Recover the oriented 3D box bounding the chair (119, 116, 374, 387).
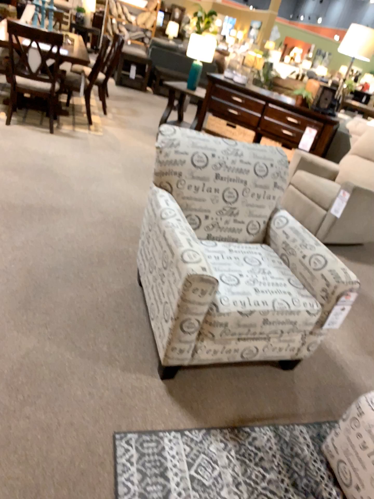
[{"bbox_3d":[0.222,-0.017,1.924,0.835,0.869,0.919,4,33,-23],"label":"chair"}]
